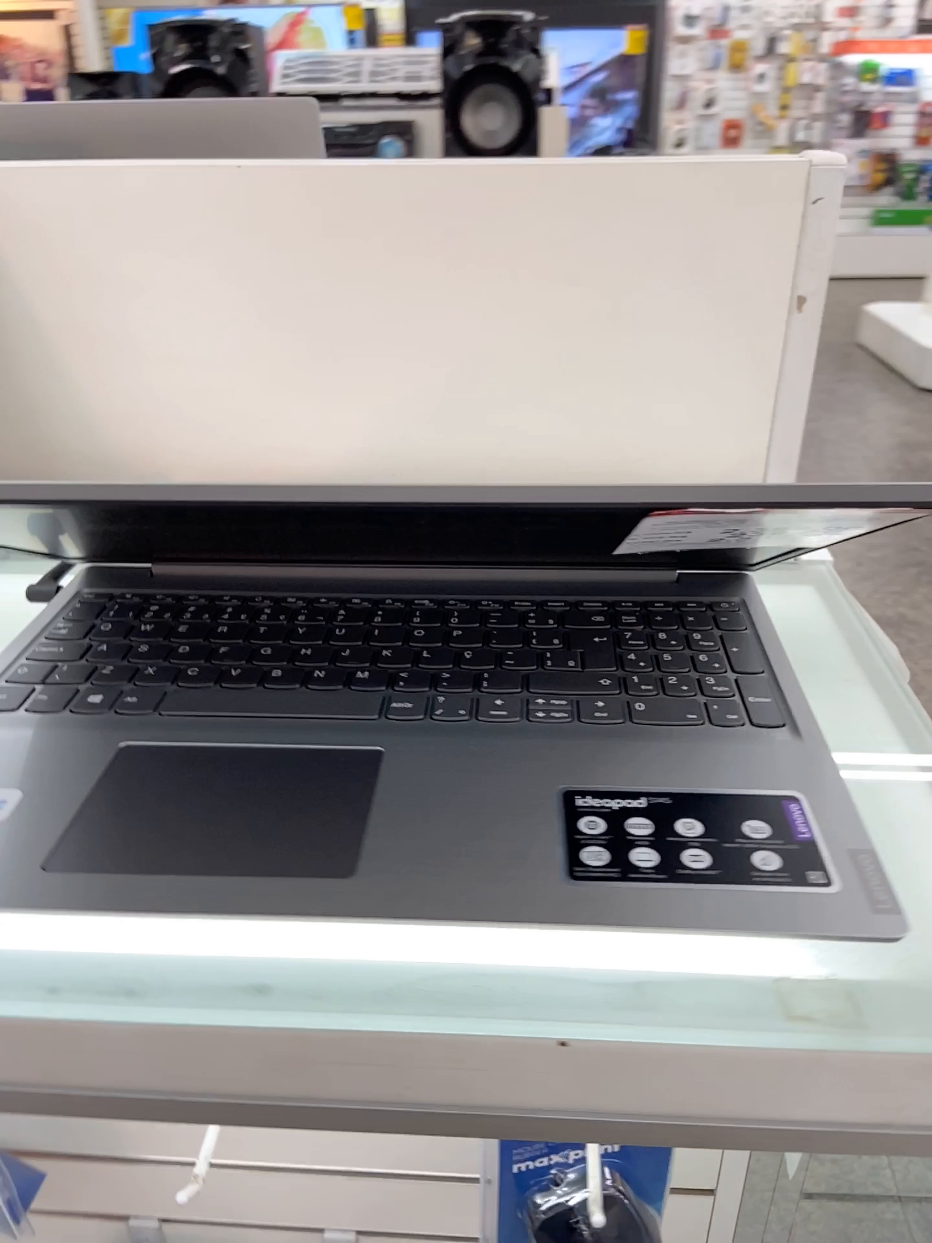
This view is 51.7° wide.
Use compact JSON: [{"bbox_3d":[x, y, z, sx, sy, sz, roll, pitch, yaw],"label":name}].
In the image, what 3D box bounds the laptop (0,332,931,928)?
[{"bbox_3d":[-0.039,-0.022,0.375,0.354,0.122,0.240,0,28,4],"label":"laptop"}]
